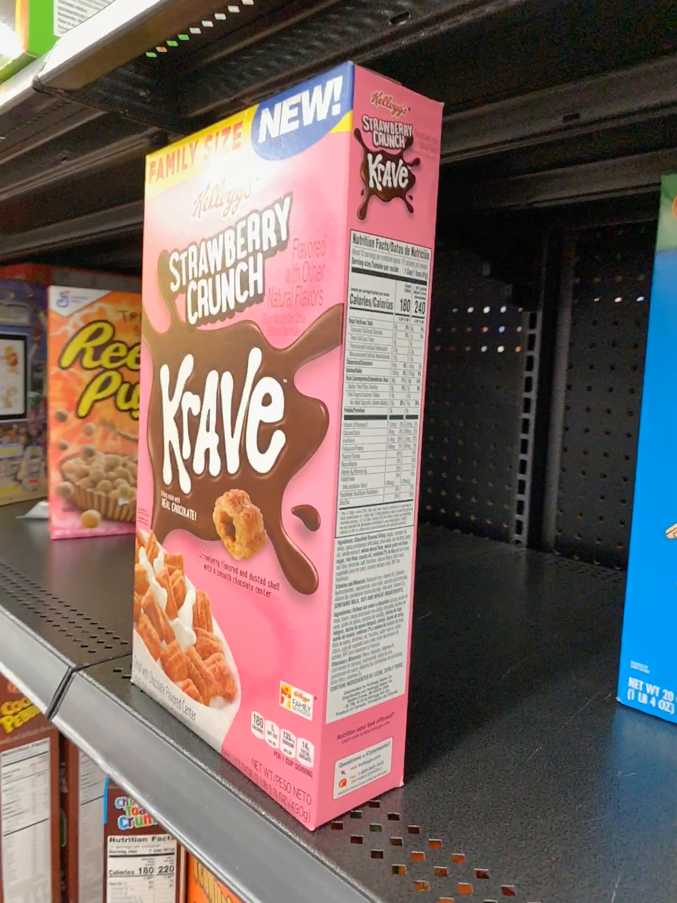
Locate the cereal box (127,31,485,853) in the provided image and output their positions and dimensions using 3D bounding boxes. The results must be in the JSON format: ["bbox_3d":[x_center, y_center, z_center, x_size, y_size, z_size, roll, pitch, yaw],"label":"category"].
[{"bbox_3d":[-0.035,-0.008,0.373,0.060,0.330,0.200,-1,7,-41],"label":"cereal box"}]
